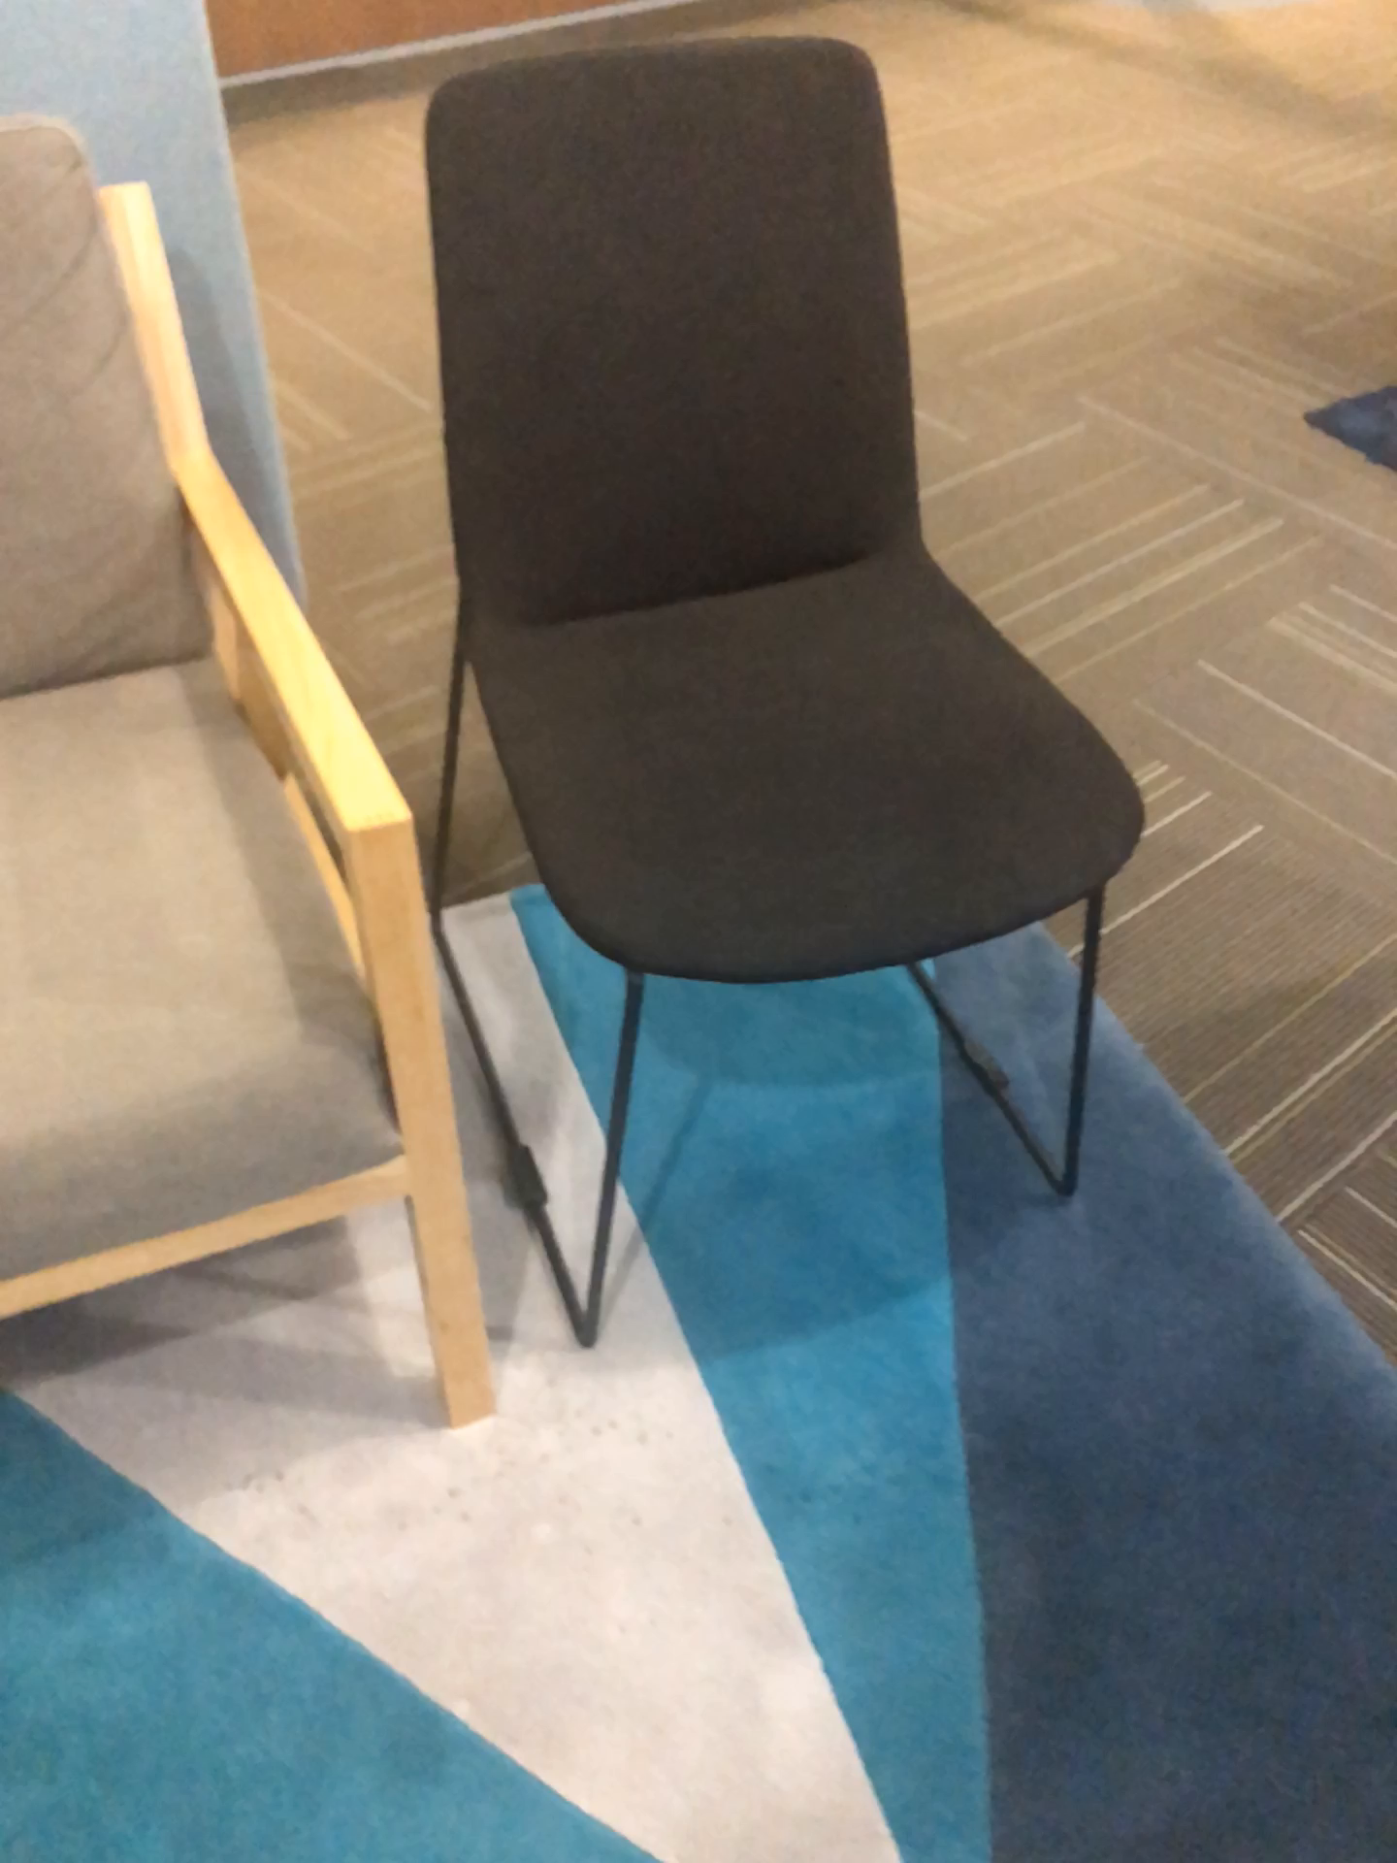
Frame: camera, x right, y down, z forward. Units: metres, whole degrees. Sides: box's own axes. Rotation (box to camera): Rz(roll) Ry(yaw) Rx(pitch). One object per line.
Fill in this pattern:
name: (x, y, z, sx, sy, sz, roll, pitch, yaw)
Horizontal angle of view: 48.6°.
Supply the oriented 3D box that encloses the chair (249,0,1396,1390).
chair: (0.014, -0.209, 1.255, 0.501, 0.823, 0.684, -13, 46, -15)
